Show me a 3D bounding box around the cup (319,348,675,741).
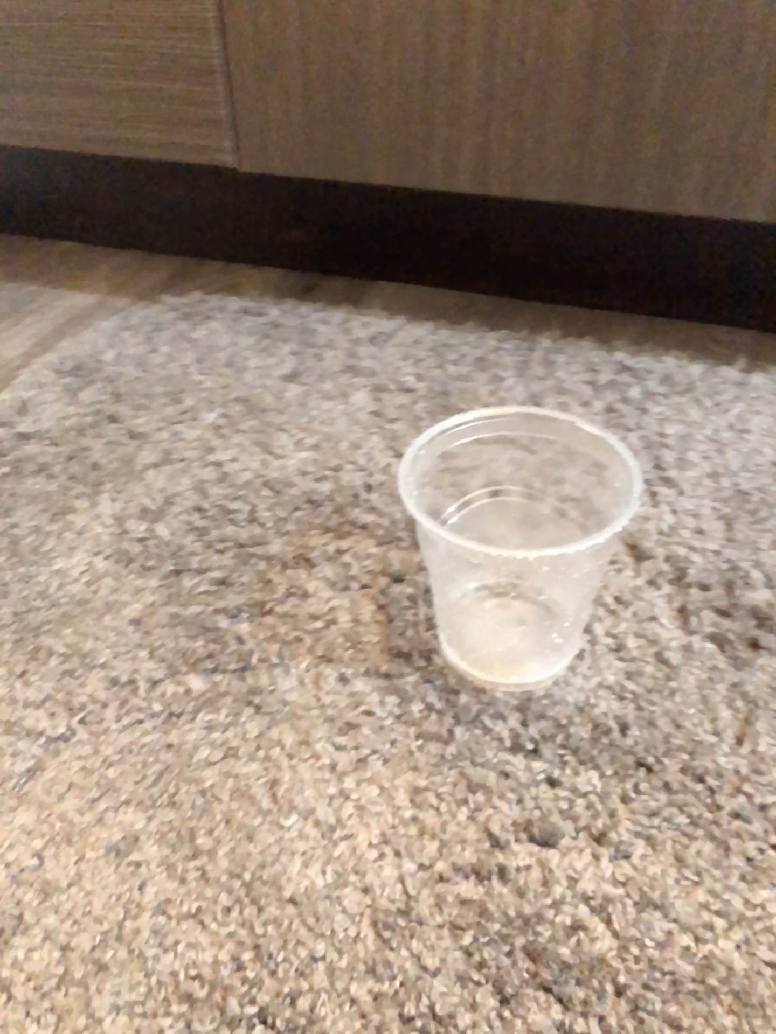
[{"bbox_3d":[0.040,0.006,0.331,0.090,0.090,0.090,-1,39,1],"label":"cup"}]
